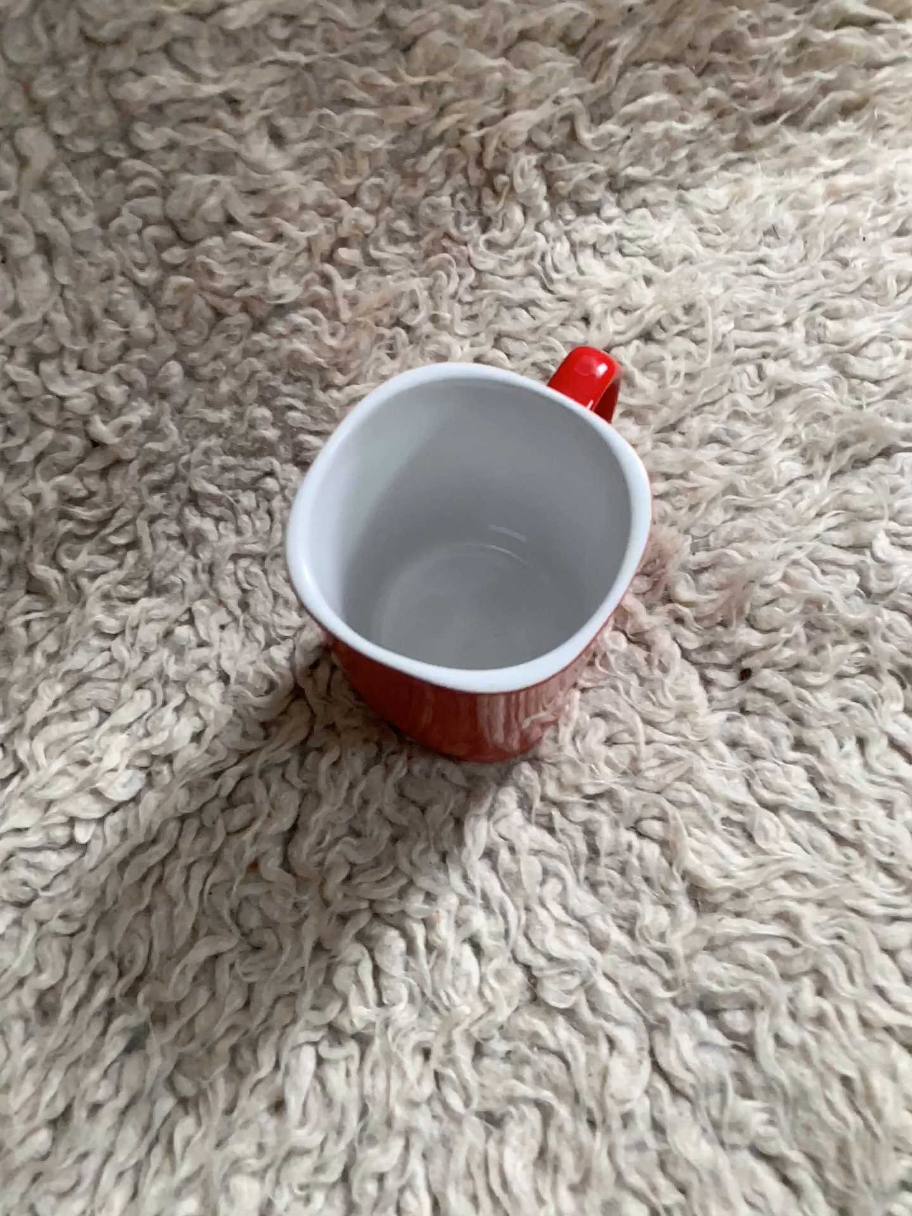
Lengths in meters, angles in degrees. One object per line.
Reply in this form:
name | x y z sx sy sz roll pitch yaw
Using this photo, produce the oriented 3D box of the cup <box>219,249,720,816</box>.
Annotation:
cup | 0.008 -0.016 0.296 0.087 0.110 0.122 24 73 9
